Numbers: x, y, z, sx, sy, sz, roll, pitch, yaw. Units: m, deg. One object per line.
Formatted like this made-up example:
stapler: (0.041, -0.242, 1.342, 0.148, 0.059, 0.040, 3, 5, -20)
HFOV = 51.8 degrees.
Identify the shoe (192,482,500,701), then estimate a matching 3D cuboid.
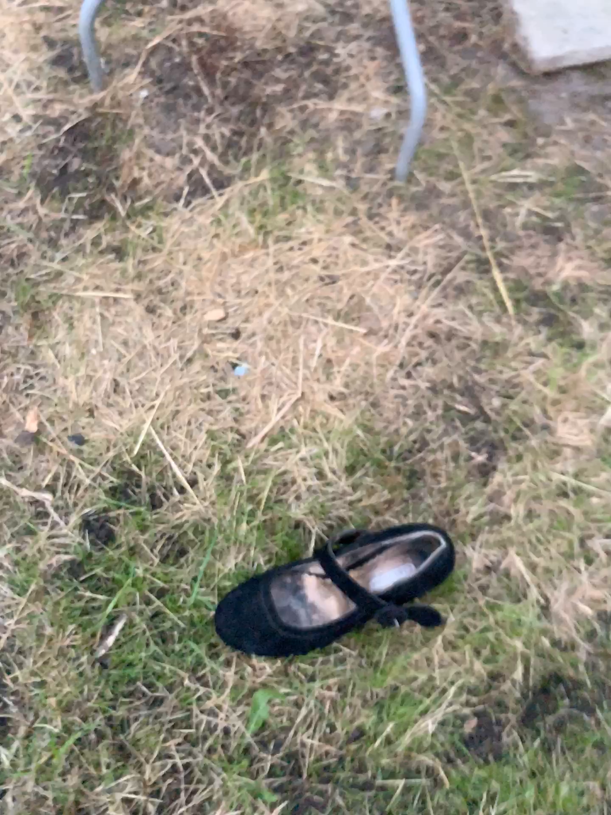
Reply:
shoe: (0.033, 0.176, 0.603, 0.250, 0.109, 0.110, -16, 68, -12)
